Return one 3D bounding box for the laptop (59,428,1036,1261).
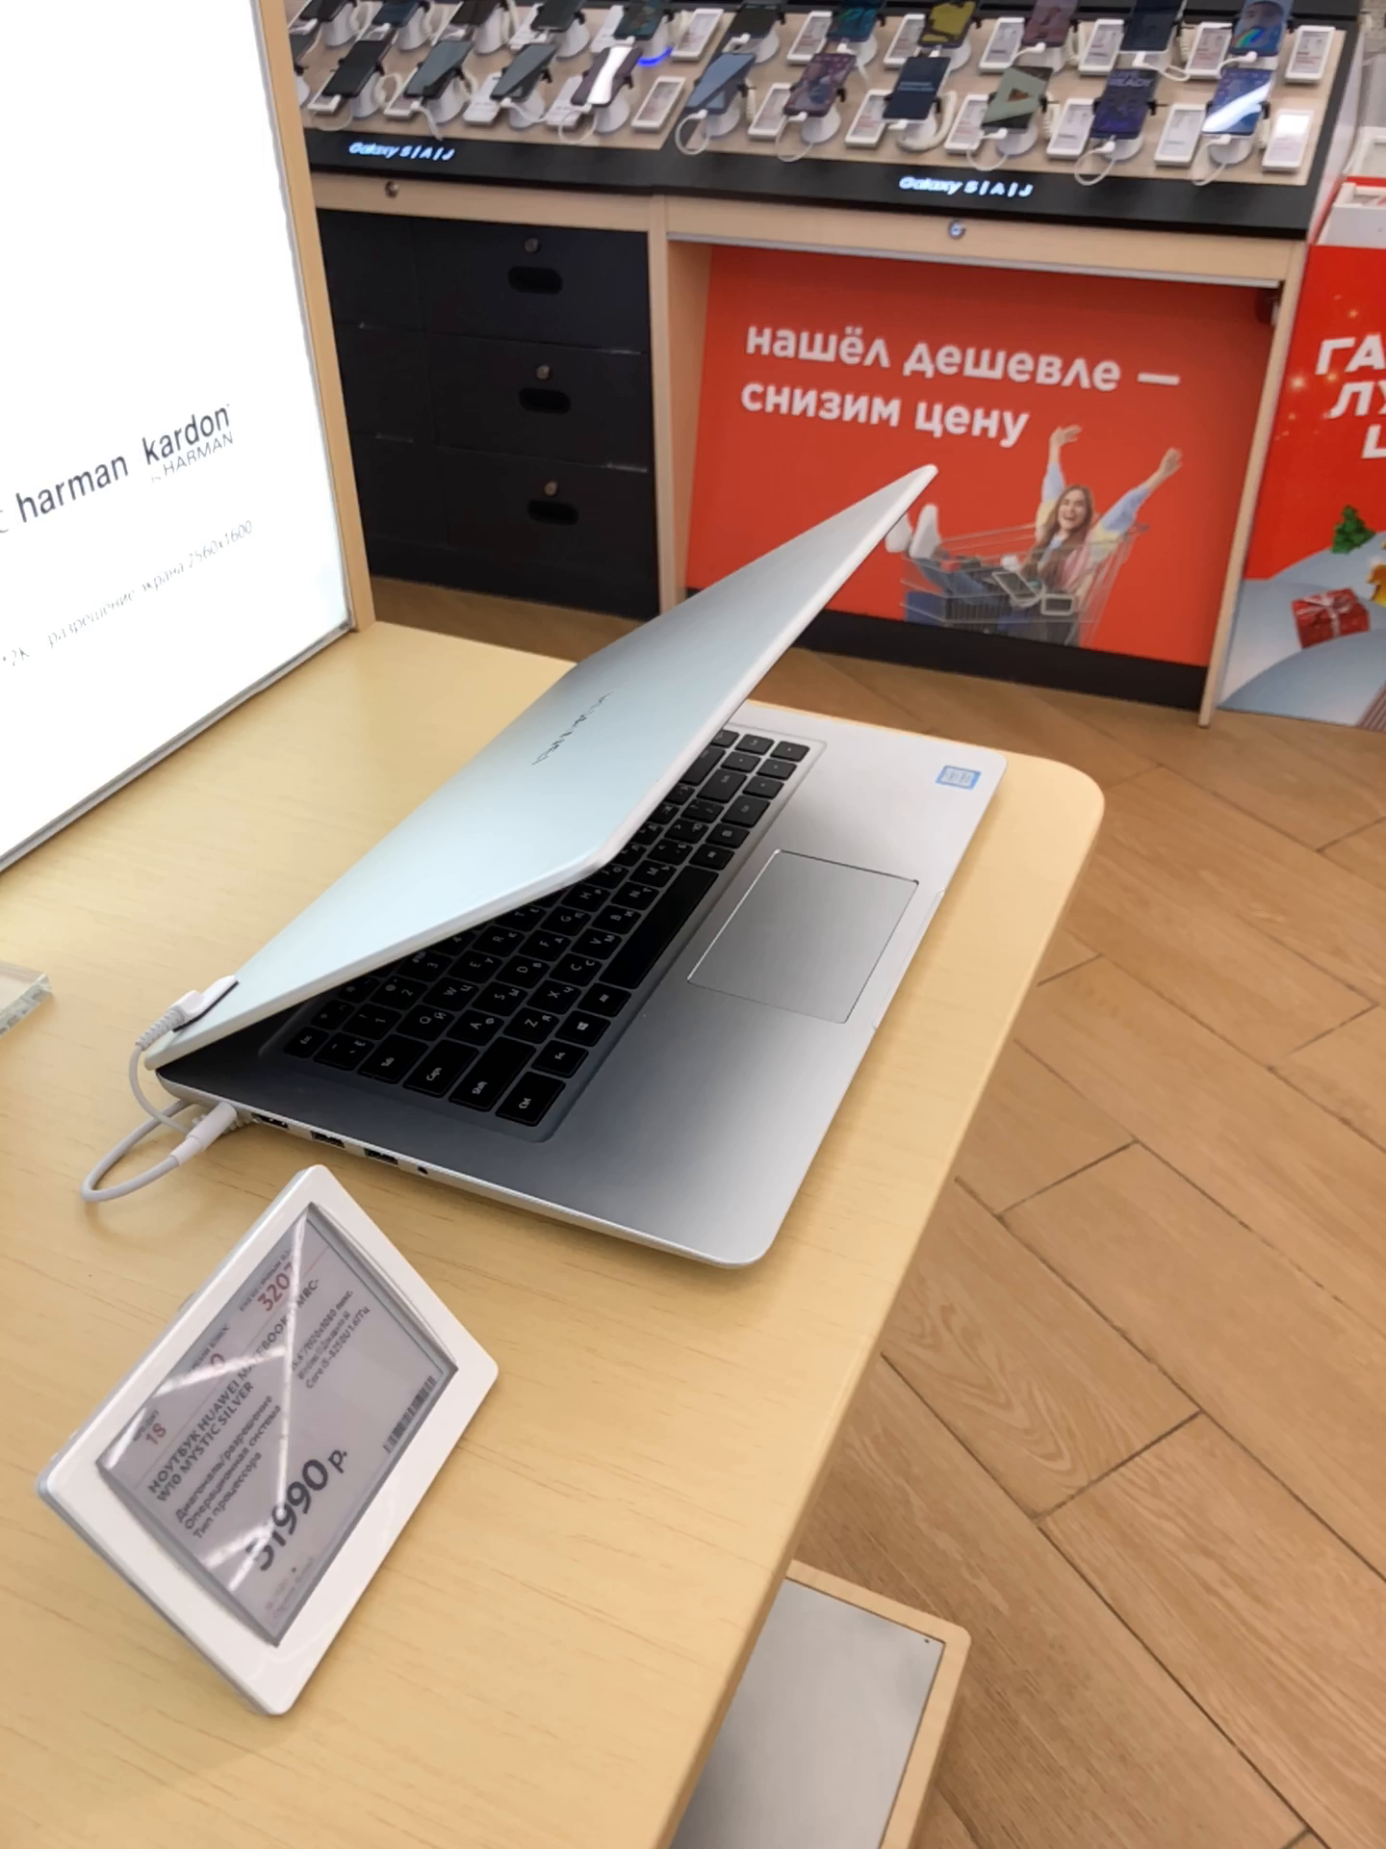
[{"bbox_3d":[-0.023,-0.066,0.606,0.230,0.135,0.344,13,38,18],"label":"laptop"}]
